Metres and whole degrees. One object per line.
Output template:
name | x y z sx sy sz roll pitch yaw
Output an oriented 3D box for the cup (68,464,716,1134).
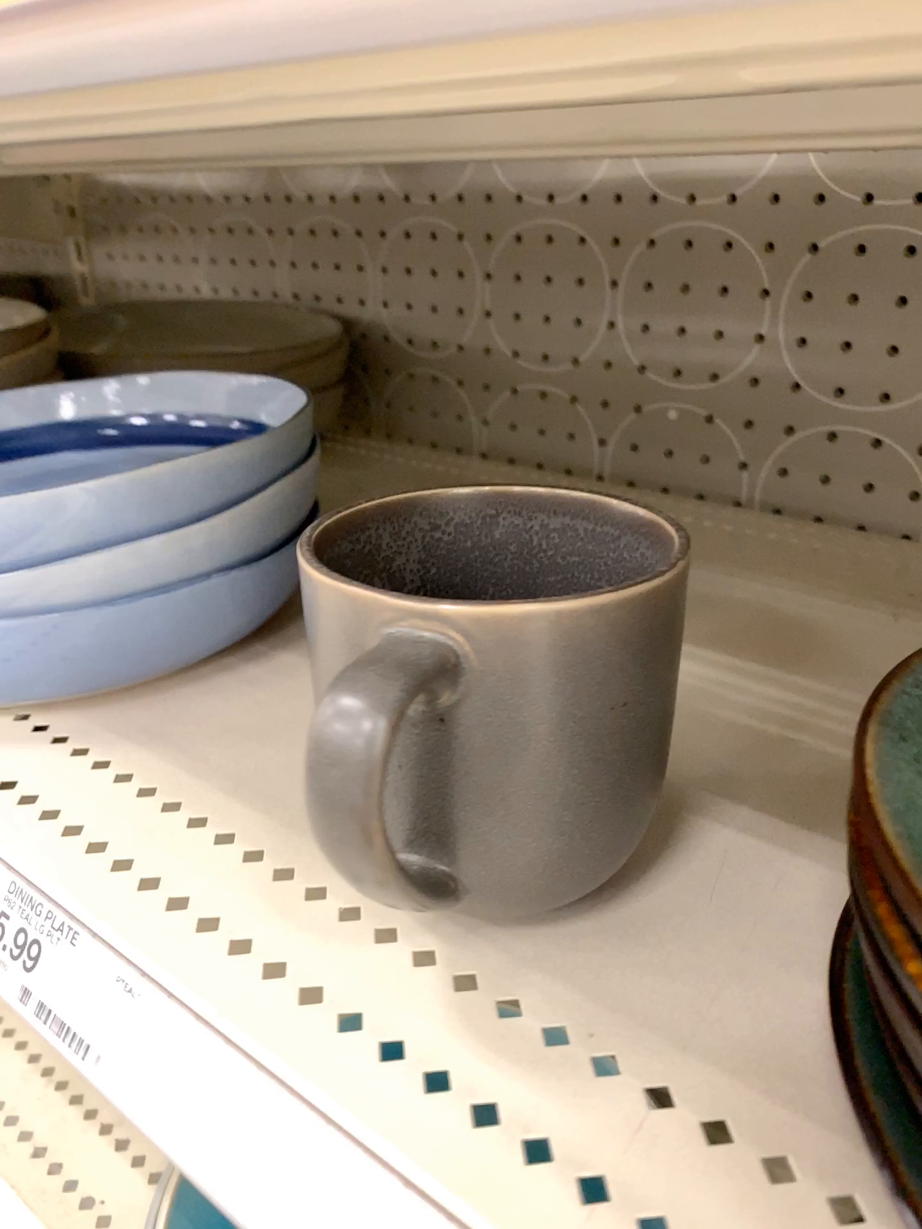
cup | 0.000 0.024 0.224 0.100 0.080 0.131 7 25 17
